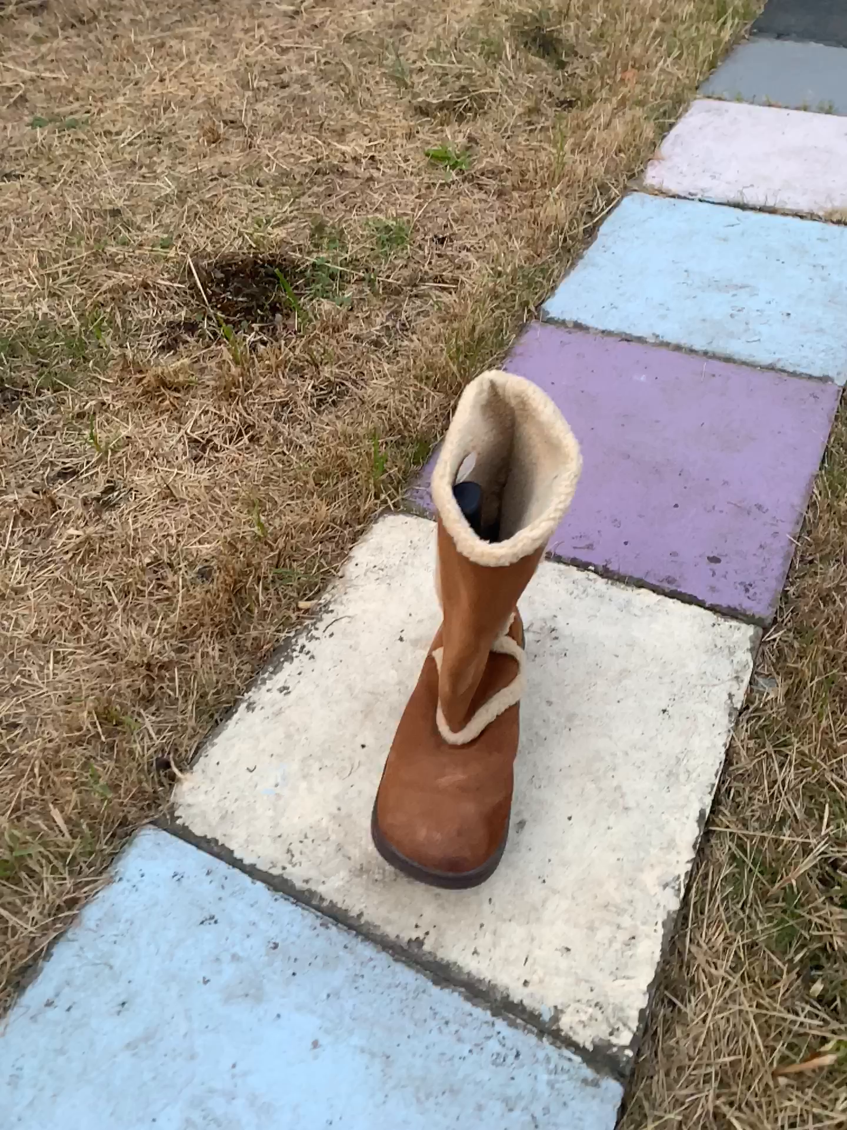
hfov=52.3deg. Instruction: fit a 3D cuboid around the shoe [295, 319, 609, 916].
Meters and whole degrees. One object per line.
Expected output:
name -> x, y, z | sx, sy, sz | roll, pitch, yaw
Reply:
shoe -> 0.031, 0.040, 0.589 | 0.110, 0.297, 0.262 | 12, 48, 12
